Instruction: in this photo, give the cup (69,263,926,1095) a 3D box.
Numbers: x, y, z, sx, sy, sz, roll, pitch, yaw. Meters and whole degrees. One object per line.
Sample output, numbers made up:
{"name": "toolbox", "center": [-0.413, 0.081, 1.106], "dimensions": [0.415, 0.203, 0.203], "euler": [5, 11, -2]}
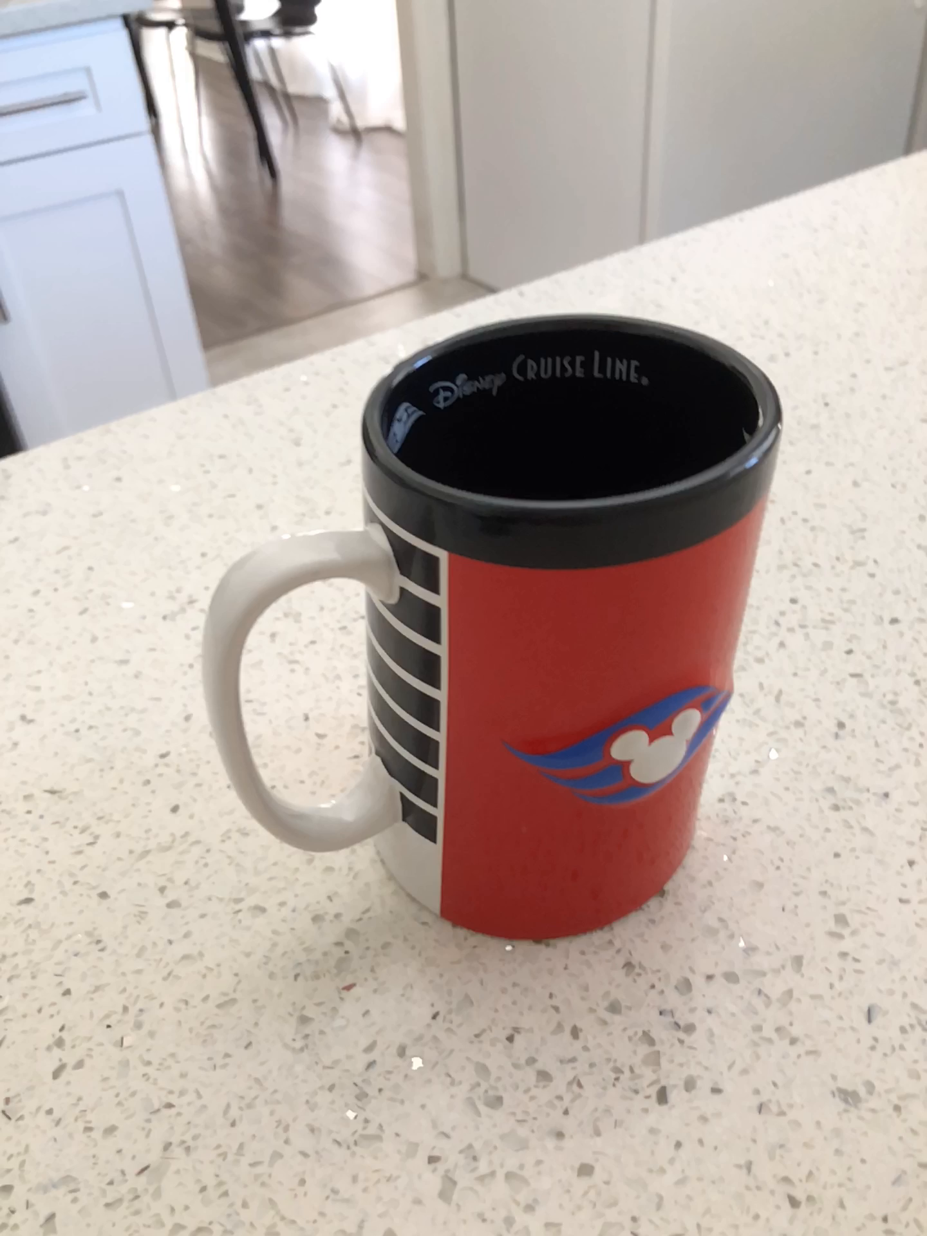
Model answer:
{"name": "cup", "center": [0.005, 0.005, 0.221], "dimensions": [0.130, 0.110, 0.090], "euler": [-19, 40, -18]}
